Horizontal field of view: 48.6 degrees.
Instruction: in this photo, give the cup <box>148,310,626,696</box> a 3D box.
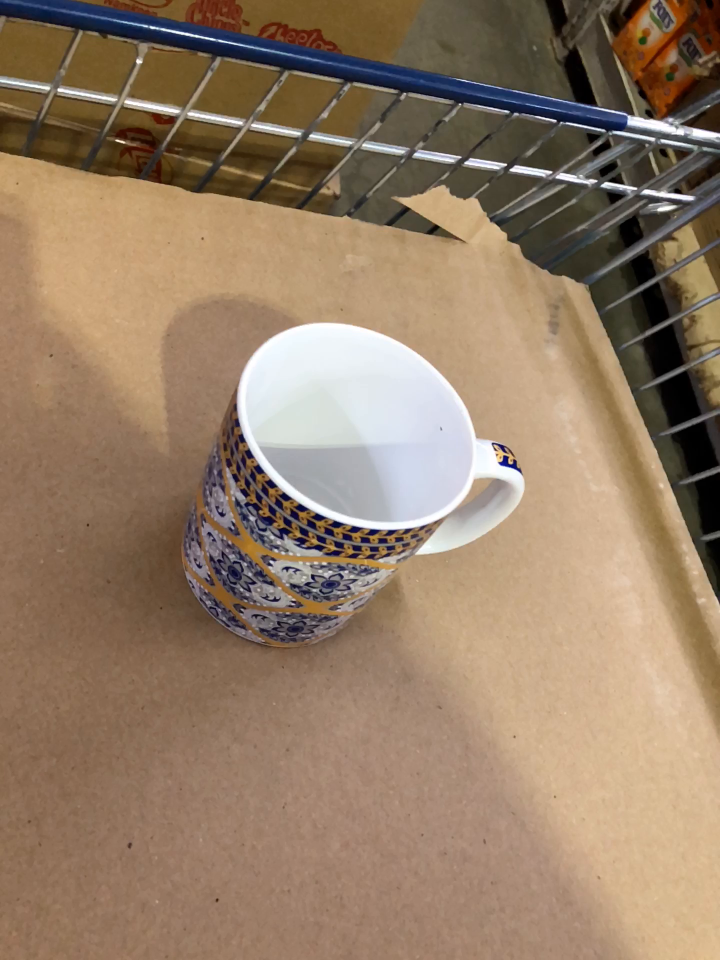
[{"bbox_3d":[0.001,0.005,0.281,0.120,0.100,0.080,-7,57,-28],"label":"cup"}]
